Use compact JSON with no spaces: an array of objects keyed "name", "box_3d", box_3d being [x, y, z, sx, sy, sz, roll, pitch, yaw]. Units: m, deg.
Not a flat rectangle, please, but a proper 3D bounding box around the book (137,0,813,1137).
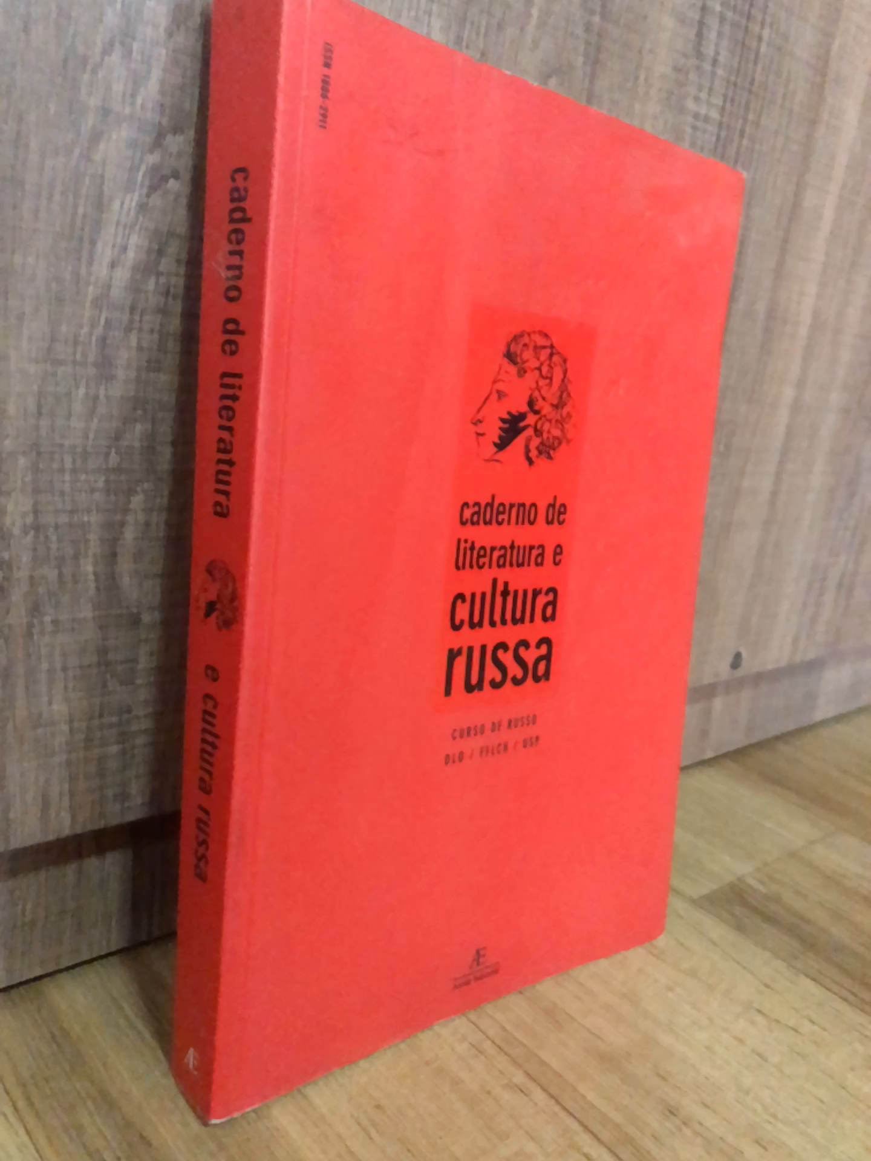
[{"name":"book","box_3d":[0.019,-0.007,0.271,0.187,0.249,0.040,-3,12,-39]}]
